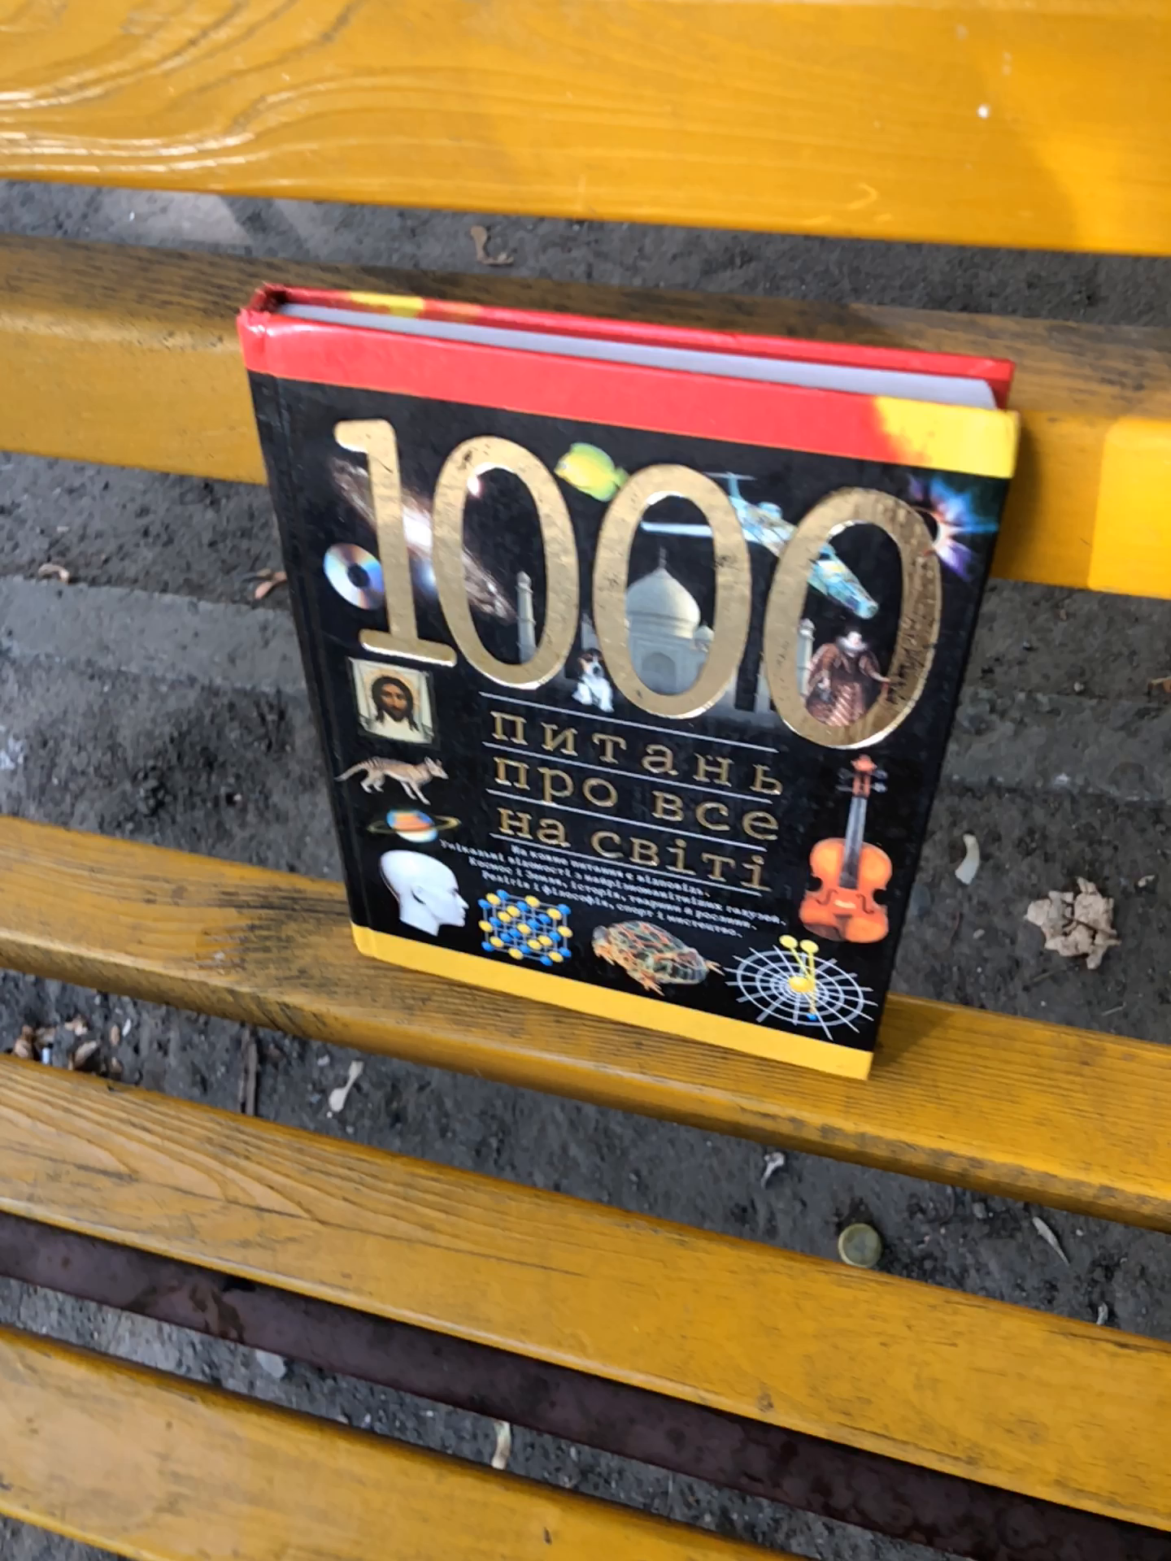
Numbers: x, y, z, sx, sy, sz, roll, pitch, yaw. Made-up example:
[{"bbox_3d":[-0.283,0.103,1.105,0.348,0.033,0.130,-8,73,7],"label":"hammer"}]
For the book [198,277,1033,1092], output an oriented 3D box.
[{"bbox_3d":[0.004,-0.014,0.335,0.172,0.201,0.032,12,42,14],"label":"book"}]
